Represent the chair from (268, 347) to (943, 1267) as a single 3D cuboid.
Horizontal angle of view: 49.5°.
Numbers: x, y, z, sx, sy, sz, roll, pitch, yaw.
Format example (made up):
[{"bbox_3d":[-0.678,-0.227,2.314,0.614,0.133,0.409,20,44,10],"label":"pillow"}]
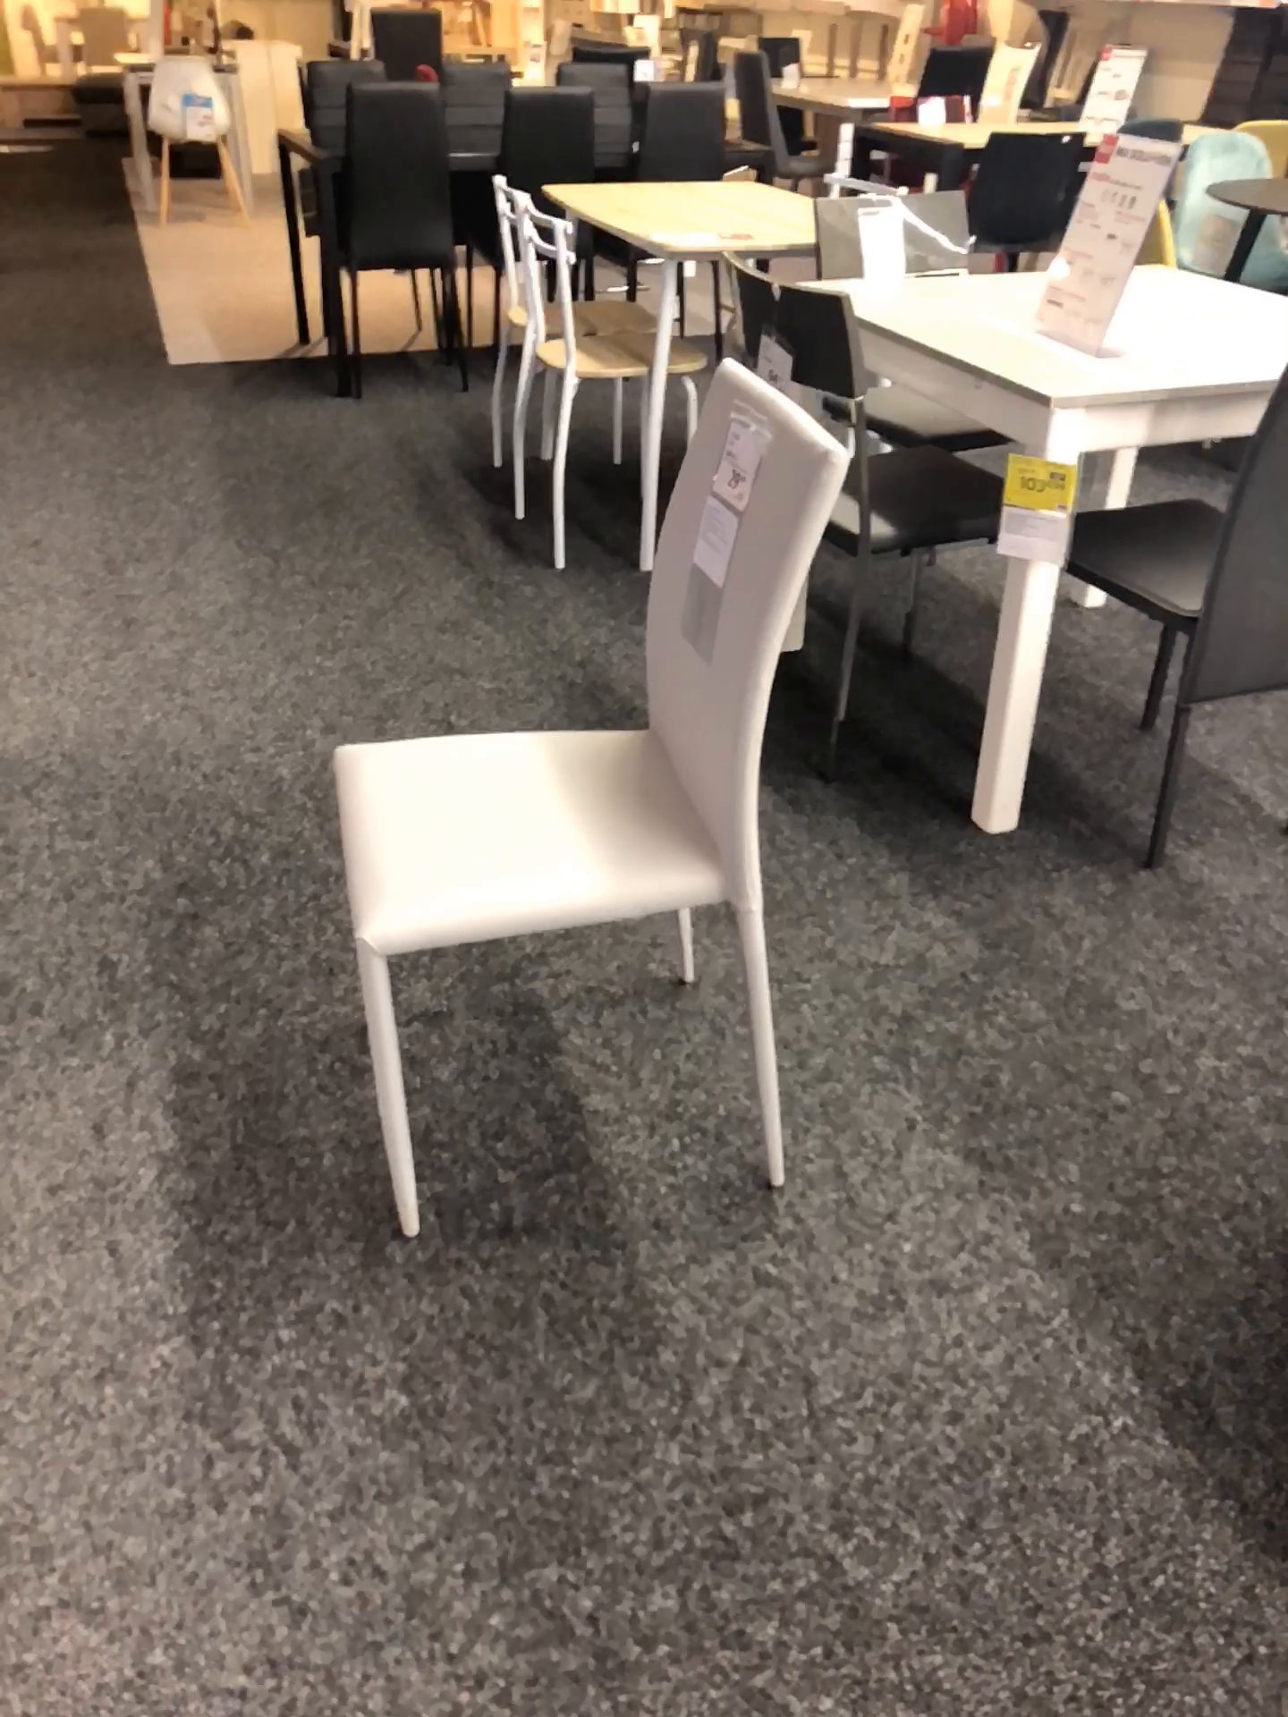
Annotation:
[{"bbox_3d":[-0.079,-0.076,1.540,0.541,0.815,0.502,-7,32,-13],"label":"chair"}]
